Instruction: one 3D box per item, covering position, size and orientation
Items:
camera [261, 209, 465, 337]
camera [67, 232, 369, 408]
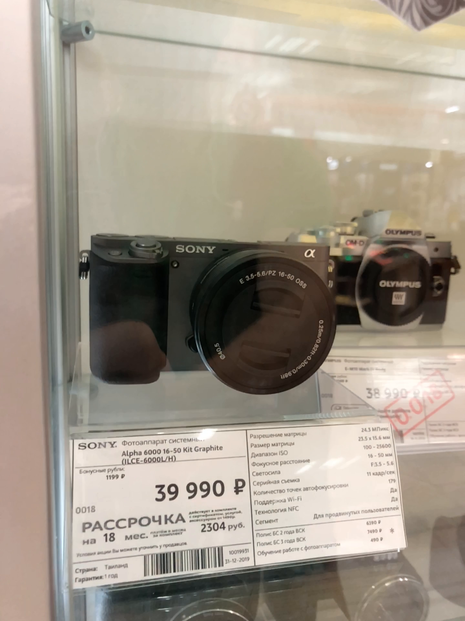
[{"bbox_3d":[0.094,-0.032,0.390,0.122,0.081,0.087,-1,11,-12],"label":"camera"},{"bbox_3d":[-0.010,-0.001,0.258,0.130,0.070,0.066,-1,11,-12],"label":"camera"}]
